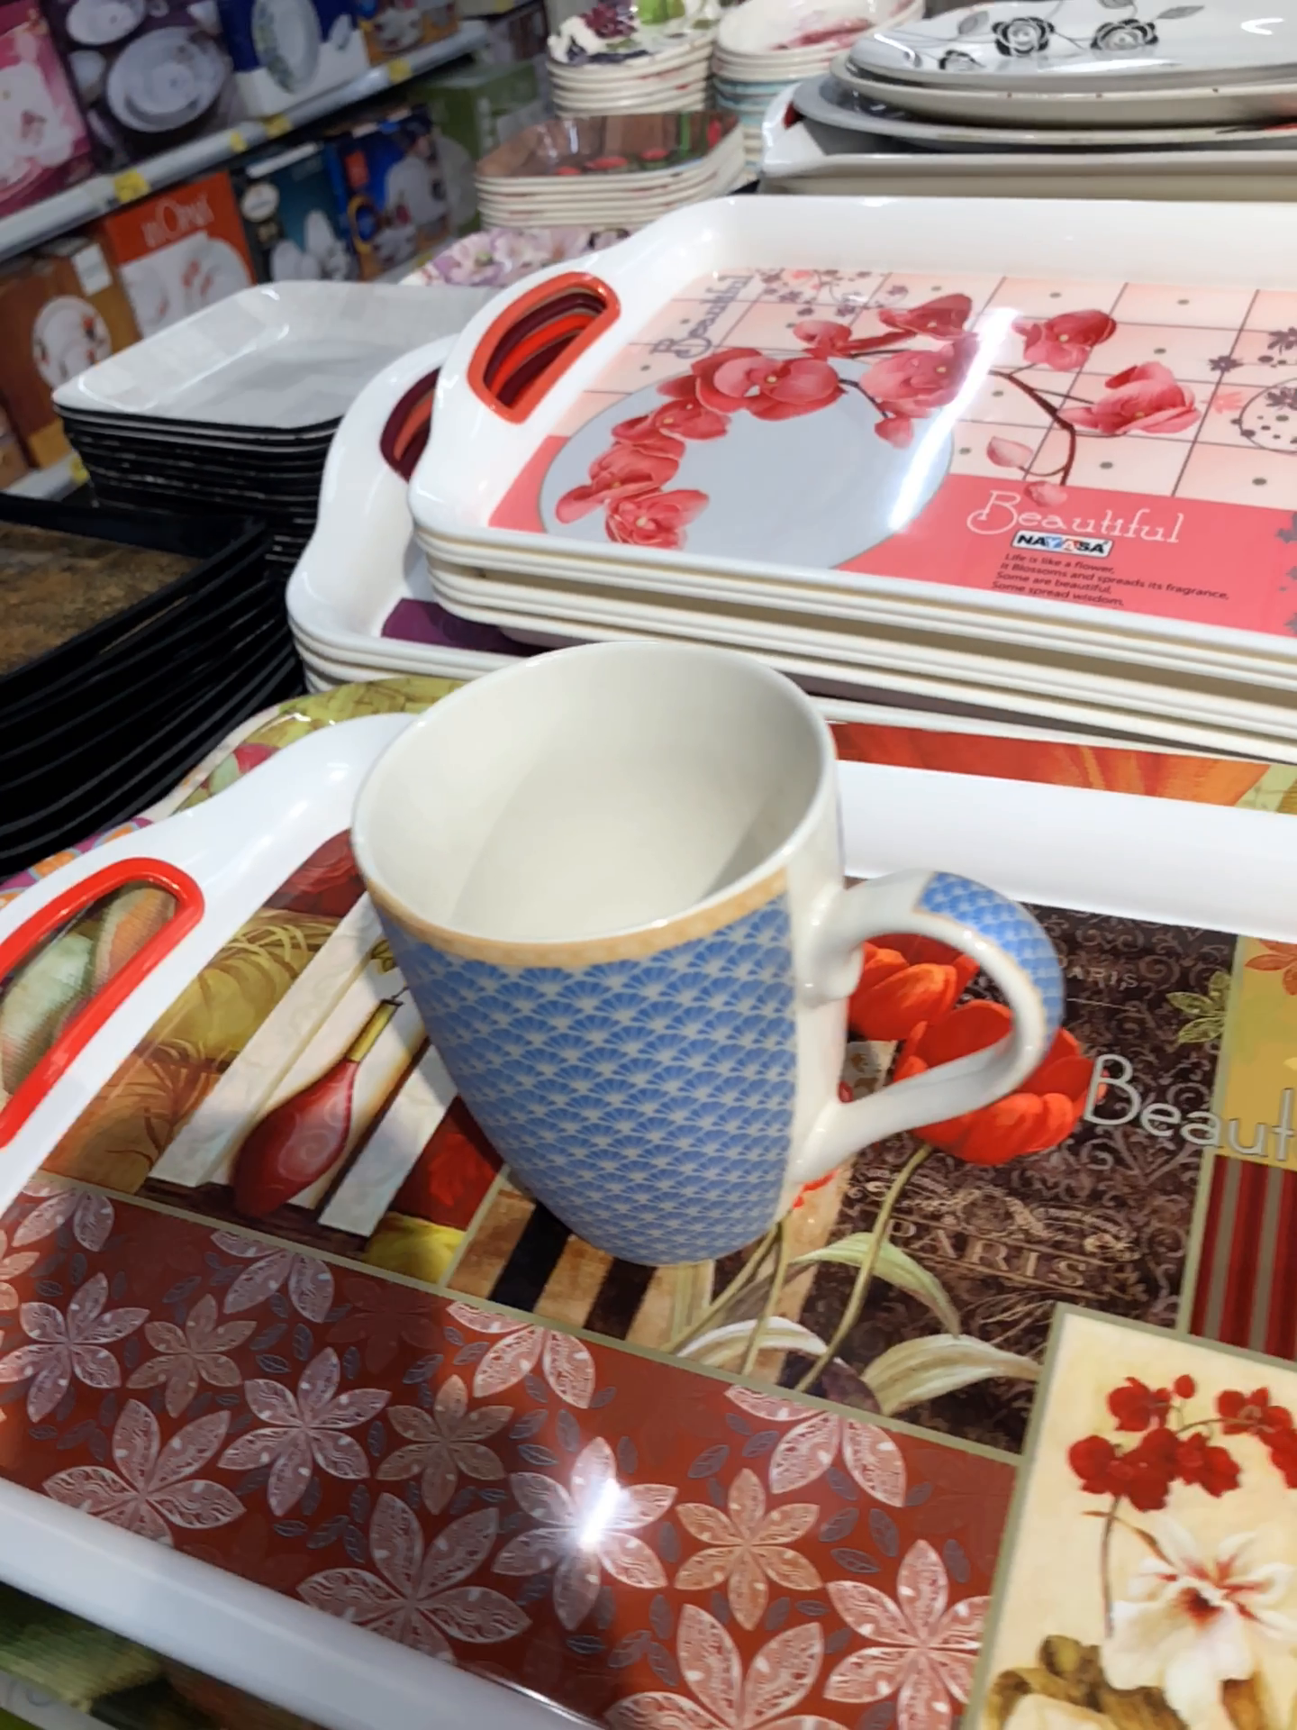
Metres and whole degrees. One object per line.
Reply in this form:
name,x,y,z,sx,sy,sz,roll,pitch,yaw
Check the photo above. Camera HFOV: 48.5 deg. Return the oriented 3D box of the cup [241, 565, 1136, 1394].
cup,0.014,0.015,0.255,0.120,0.099,0.081,9,41,21
